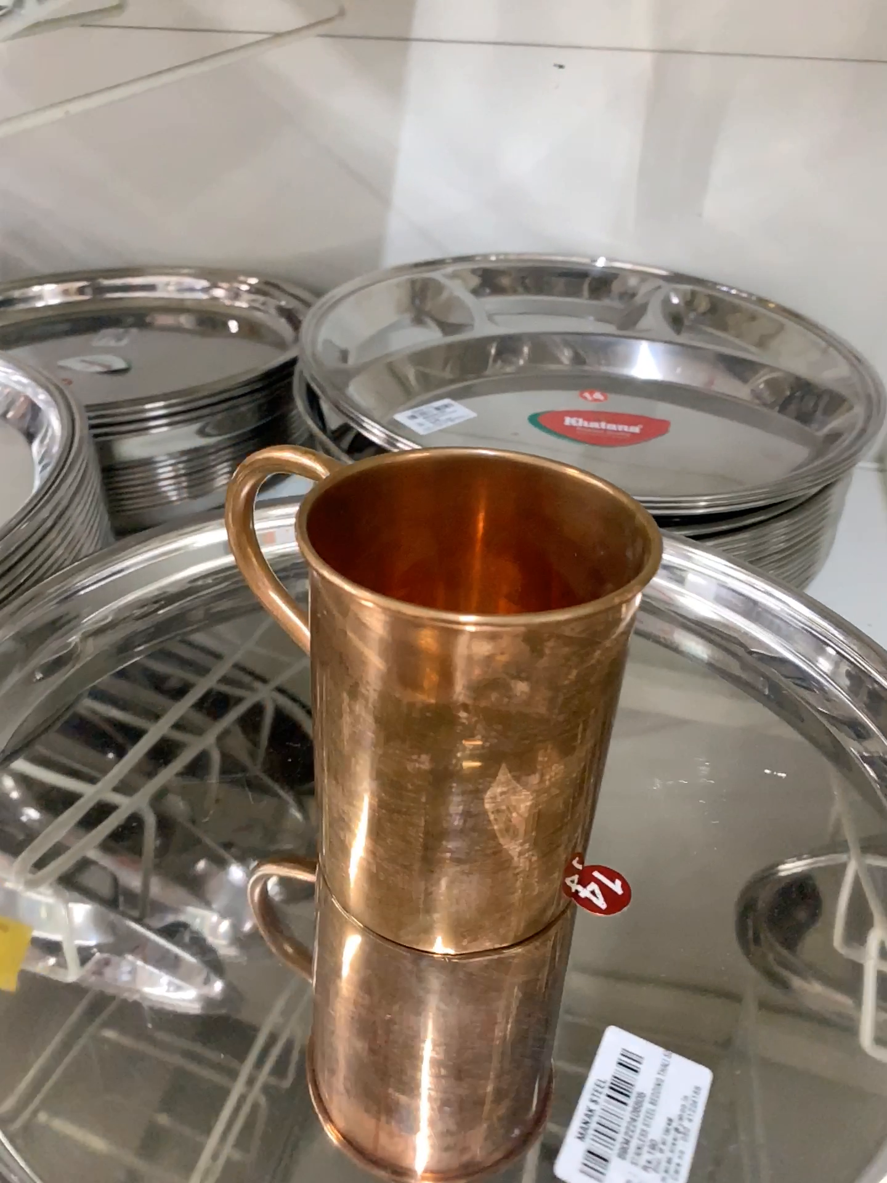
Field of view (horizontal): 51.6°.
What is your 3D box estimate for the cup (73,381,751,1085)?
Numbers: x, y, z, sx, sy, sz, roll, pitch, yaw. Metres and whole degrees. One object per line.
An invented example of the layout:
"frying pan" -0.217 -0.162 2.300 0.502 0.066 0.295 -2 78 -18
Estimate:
"cup" -0.008 0.029 0.241 0.130 0.119 0.080 20 39 26
